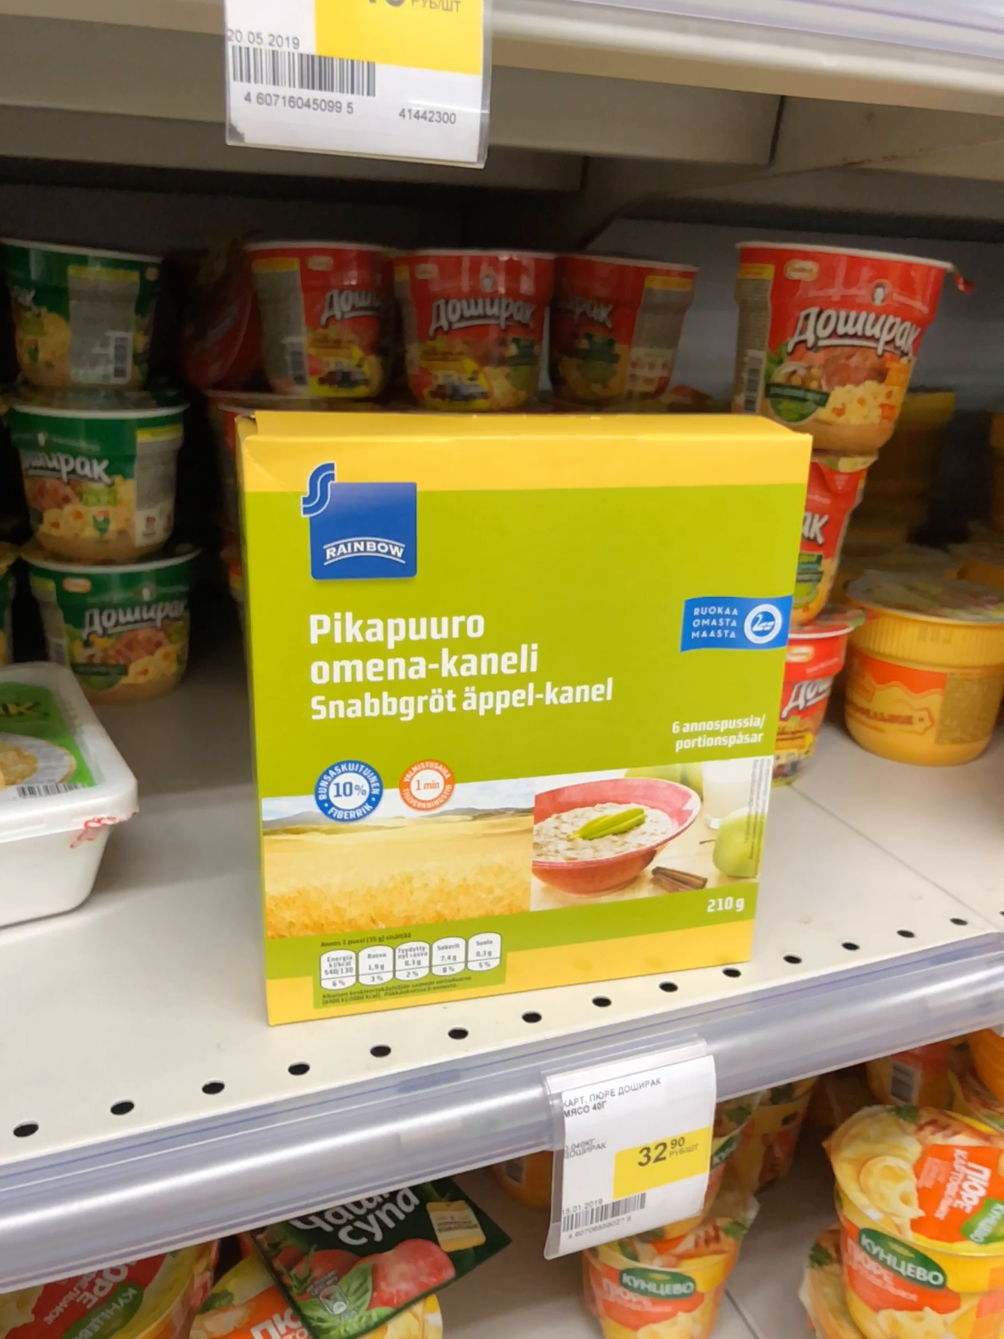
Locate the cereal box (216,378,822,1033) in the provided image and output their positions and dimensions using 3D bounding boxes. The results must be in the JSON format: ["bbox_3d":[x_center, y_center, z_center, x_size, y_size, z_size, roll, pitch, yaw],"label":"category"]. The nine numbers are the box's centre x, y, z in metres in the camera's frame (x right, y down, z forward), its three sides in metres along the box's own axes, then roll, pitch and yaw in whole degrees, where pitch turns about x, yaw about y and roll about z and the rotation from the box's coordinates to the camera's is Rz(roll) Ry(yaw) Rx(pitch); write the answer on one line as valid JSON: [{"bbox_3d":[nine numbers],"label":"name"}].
[{"bbox_3d":[0.002,0.008,0.354,0.170,0.189,0.050,-3,19,-15],"label":"cereal box"}]
